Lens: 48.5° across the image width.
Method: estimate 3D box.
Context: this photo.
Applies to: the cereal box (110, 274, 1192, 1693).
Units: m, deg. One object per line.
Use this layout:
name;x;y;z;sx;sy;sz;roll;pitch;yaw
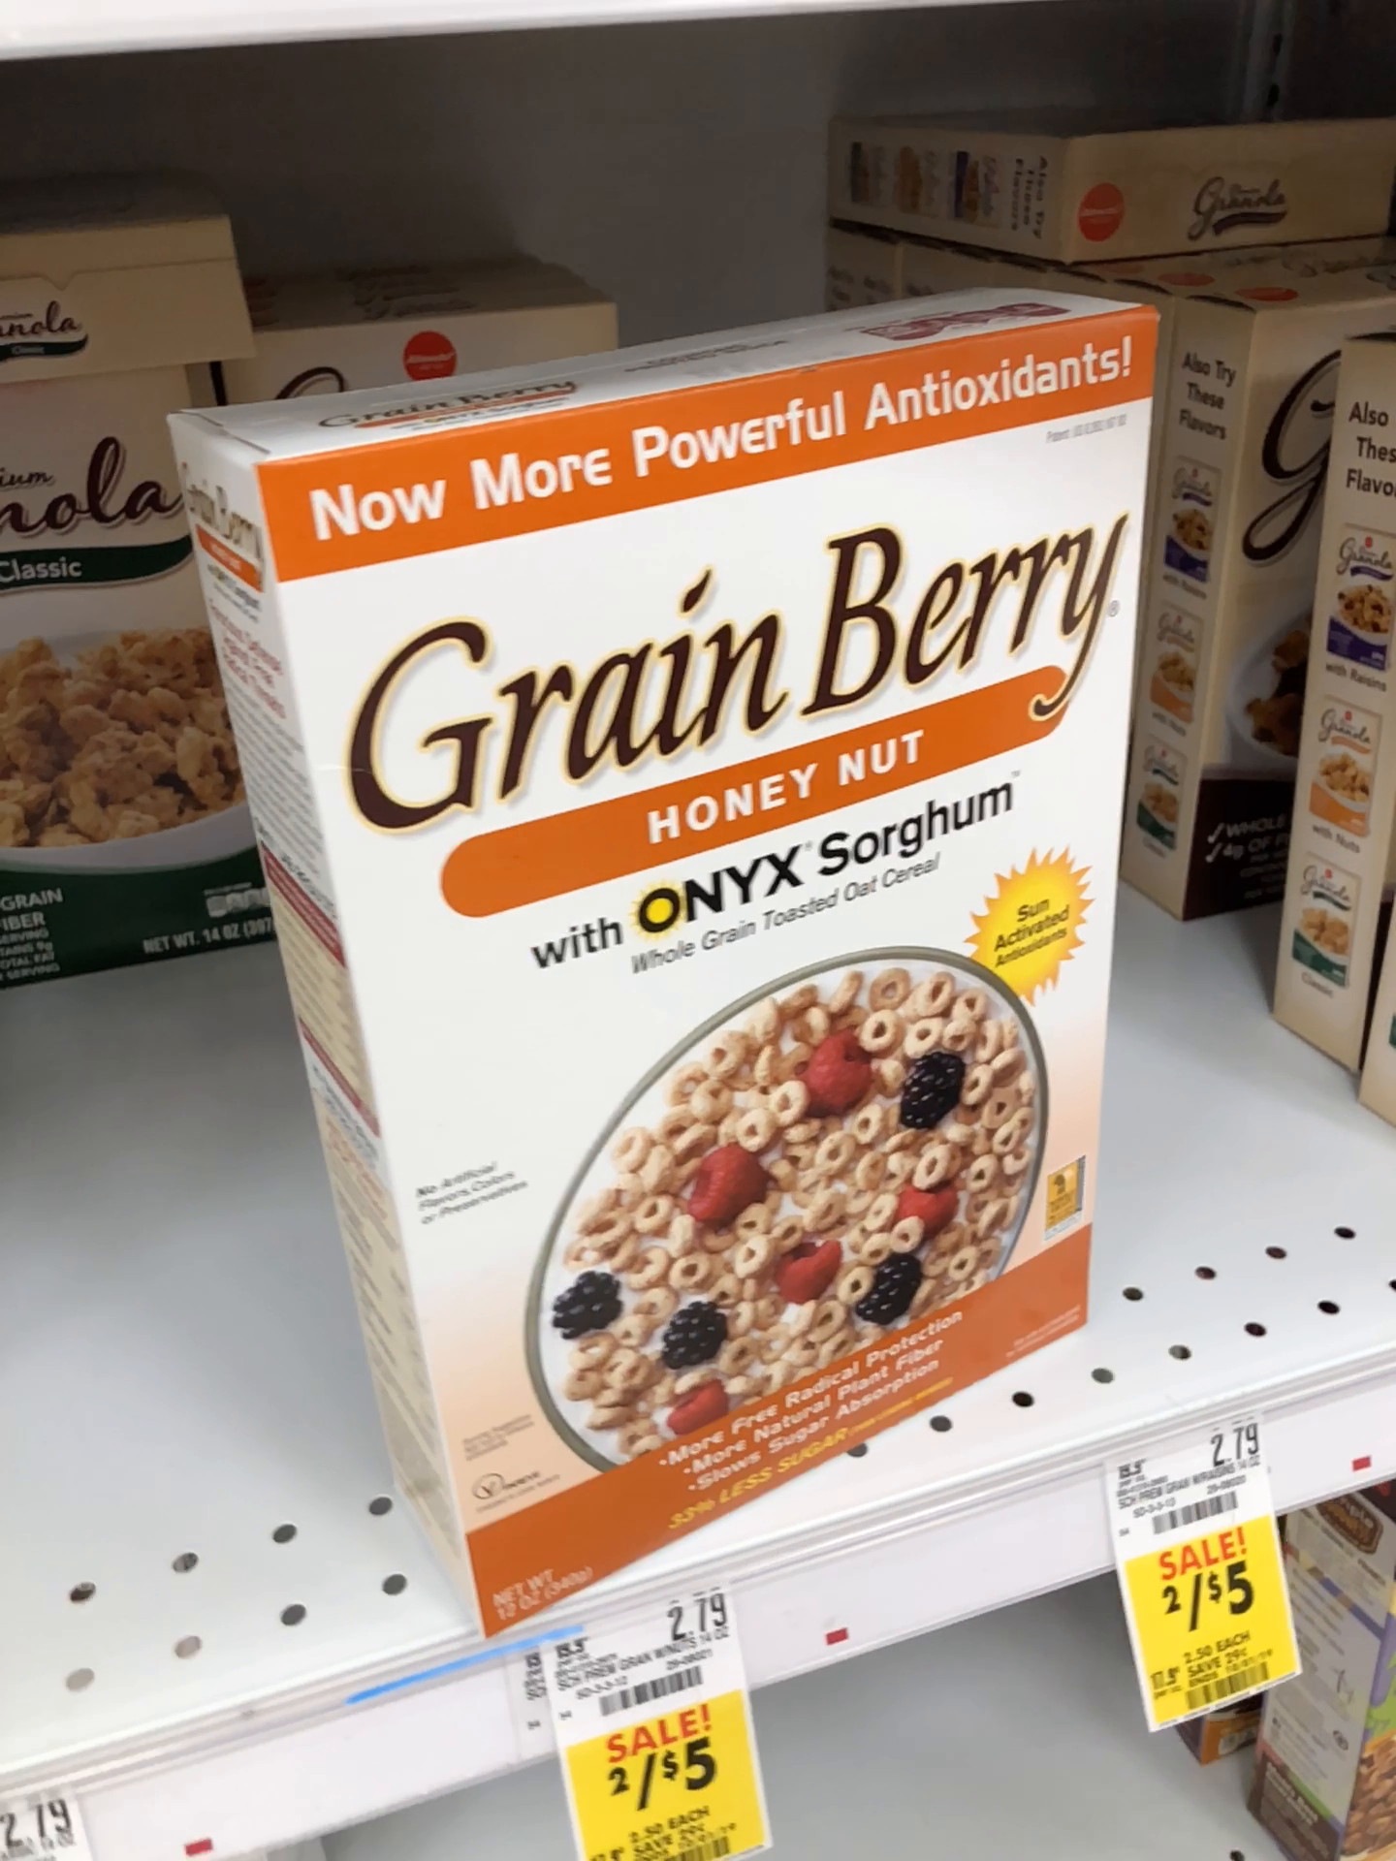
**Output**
cereal box;0.004;0.014;0.369;0.200;0.289;0.070;-19;33;-25
